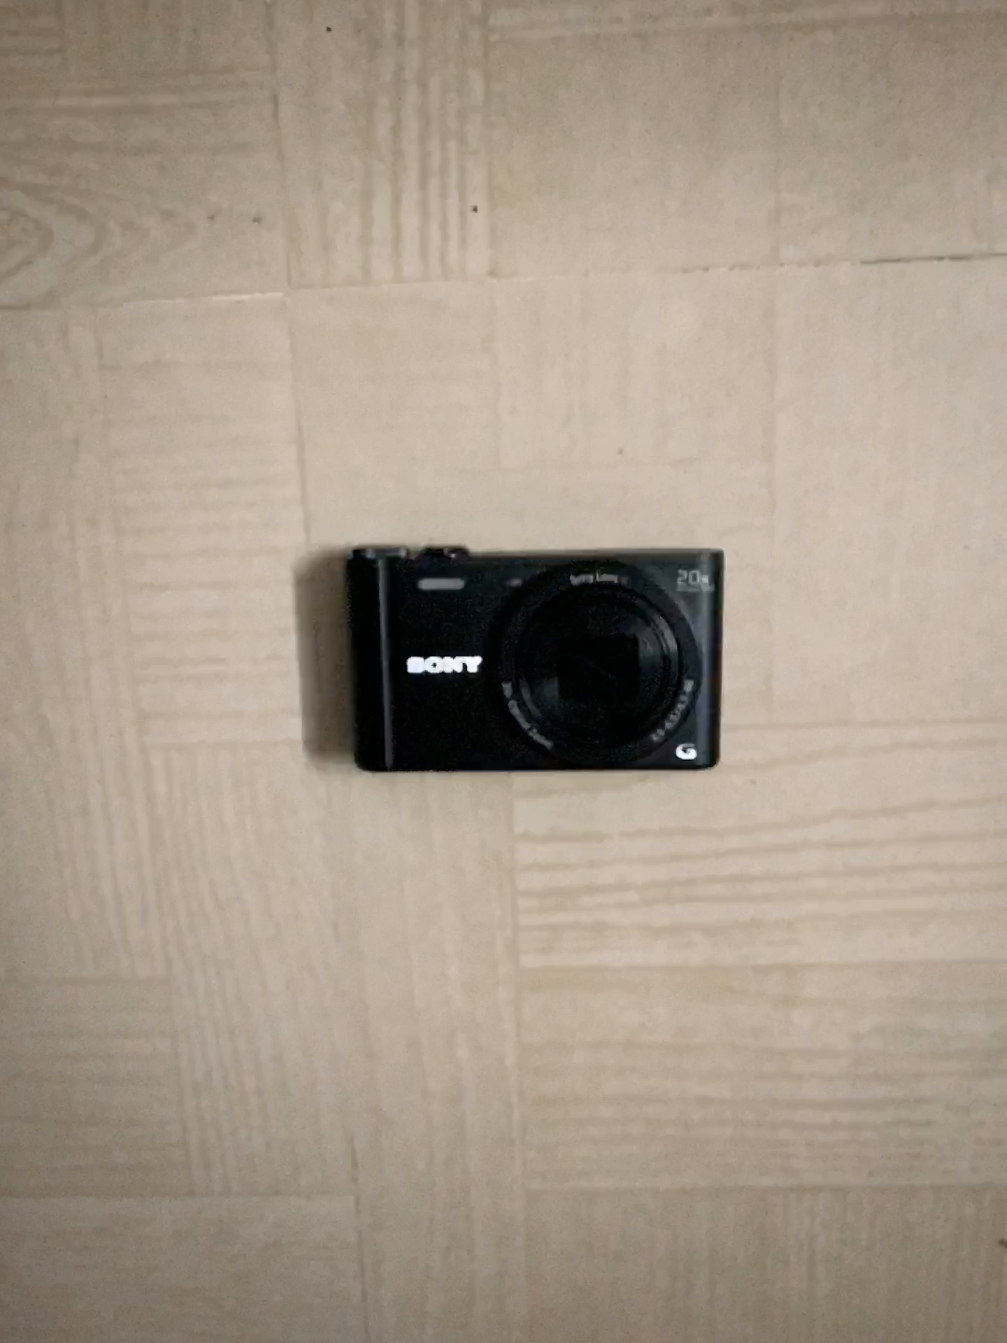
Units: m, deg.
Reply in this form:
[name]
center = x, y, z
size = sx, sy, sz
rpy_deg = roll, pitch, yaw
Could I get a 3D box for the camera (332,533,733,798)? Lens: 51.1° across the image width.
[camera]
center = 0.008, -0.002, 0.260
size = 0.092, 0.025, 0.060
rpy_deg = -1, 102, 4
